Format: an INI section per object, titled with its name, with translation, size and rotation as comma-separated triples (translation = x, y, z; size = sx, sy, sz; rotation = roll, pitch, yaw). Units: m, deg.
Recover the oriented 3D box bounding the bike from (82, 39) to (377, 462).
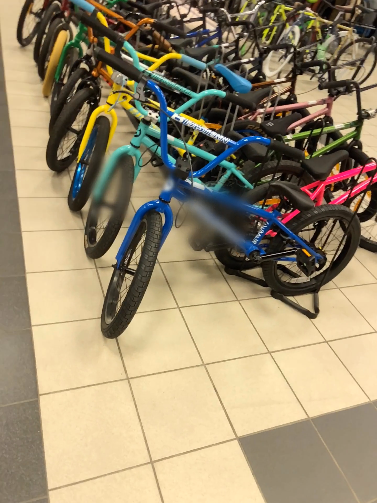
[bike]
translation = 0.321, -0.104, 1.576
size = 1.259, 0.960, 0.824
rotation = -9, 42, -30
